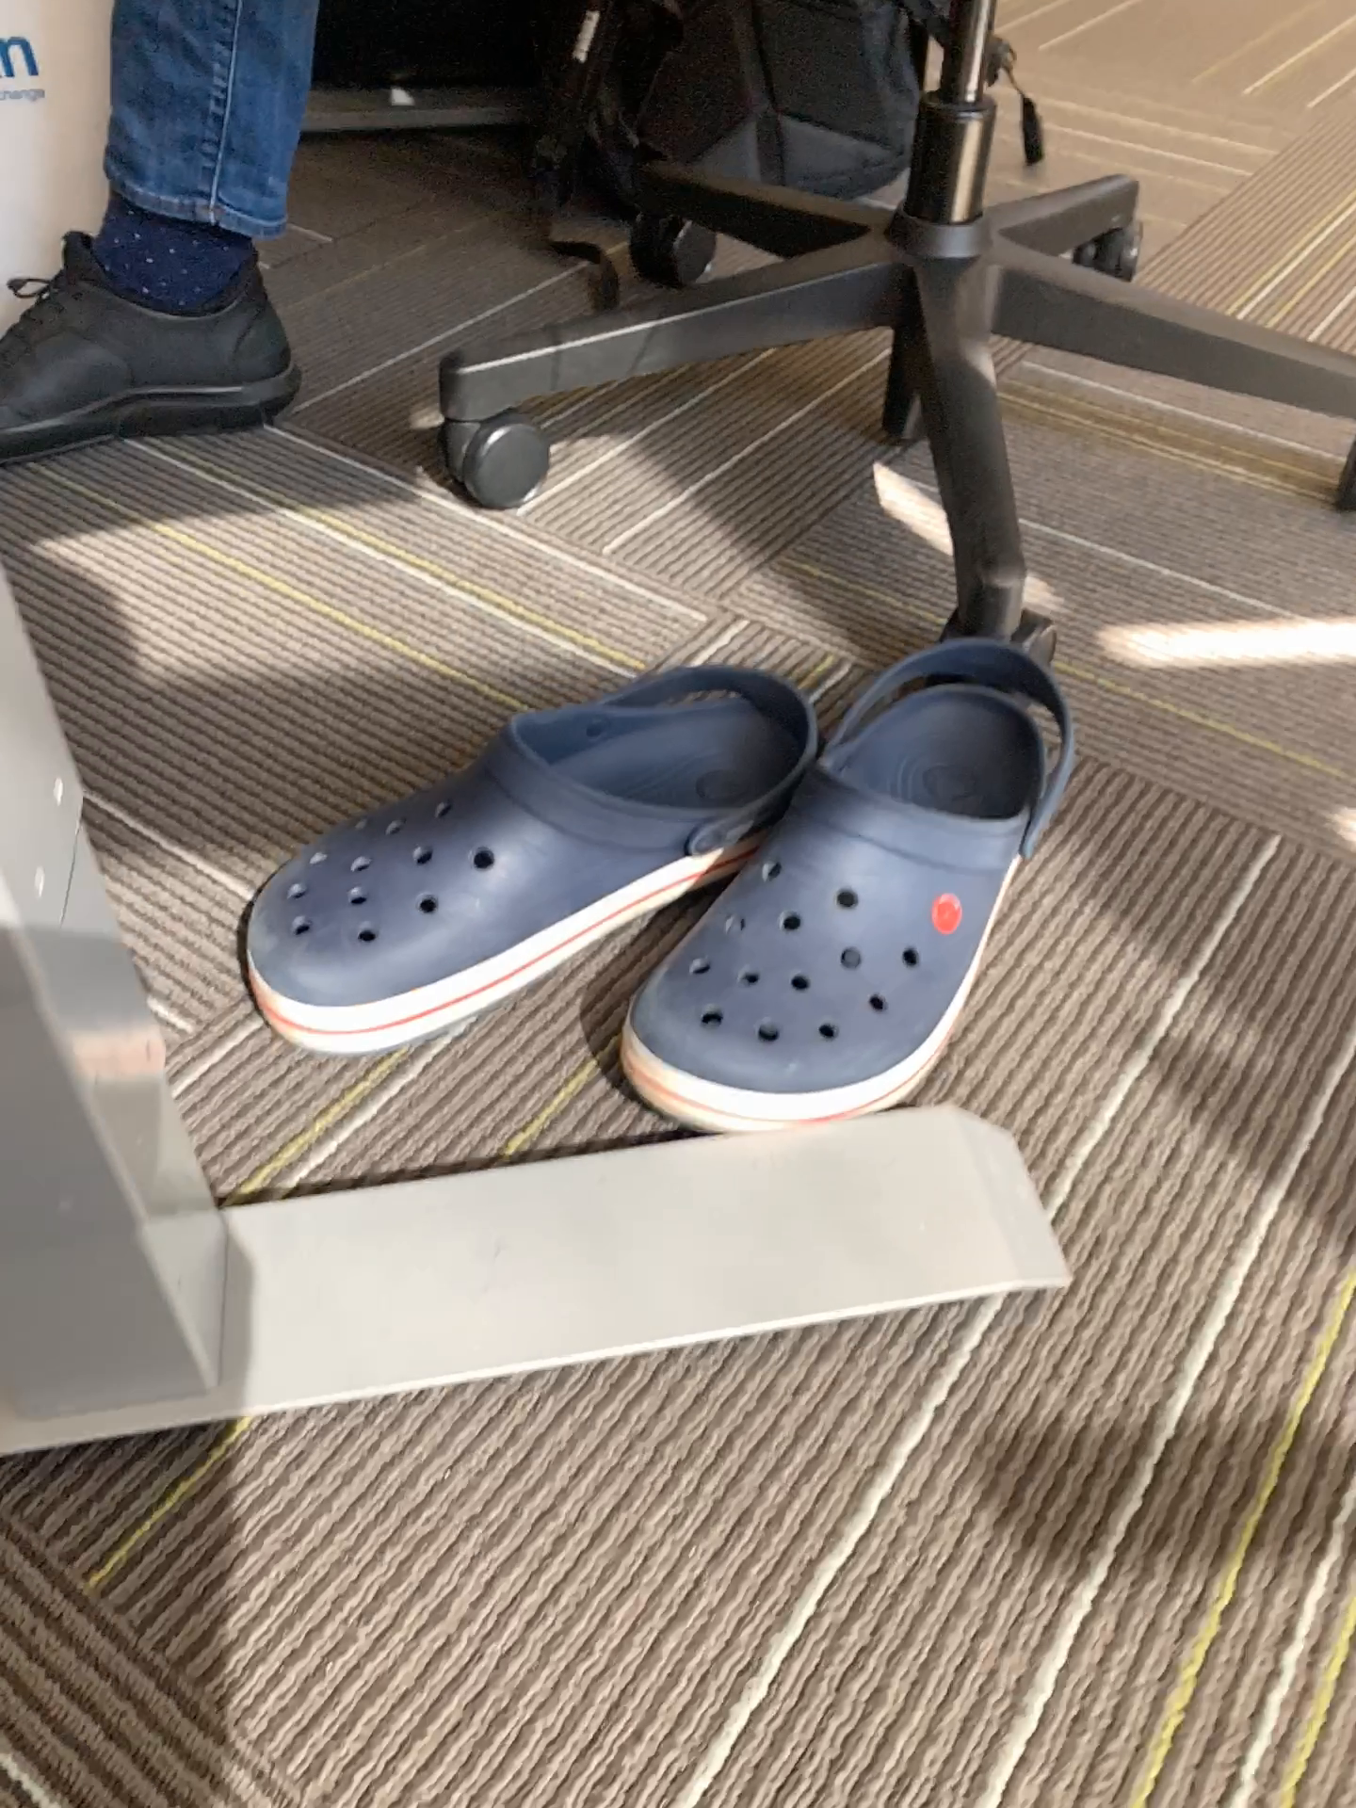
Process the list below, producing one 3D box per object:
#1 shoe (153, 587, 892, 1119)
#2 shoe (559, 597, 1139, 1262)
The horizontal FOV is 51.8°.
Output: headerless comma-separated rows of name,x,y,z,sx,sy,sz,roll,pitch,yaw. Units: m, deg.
shoe,-0.066,-0.039,0.677,0.320,0.080,0.131,-26,52,-24
shoe,0.092,-0.010,0.657,0.130,0.080,0.331,24,50,20
